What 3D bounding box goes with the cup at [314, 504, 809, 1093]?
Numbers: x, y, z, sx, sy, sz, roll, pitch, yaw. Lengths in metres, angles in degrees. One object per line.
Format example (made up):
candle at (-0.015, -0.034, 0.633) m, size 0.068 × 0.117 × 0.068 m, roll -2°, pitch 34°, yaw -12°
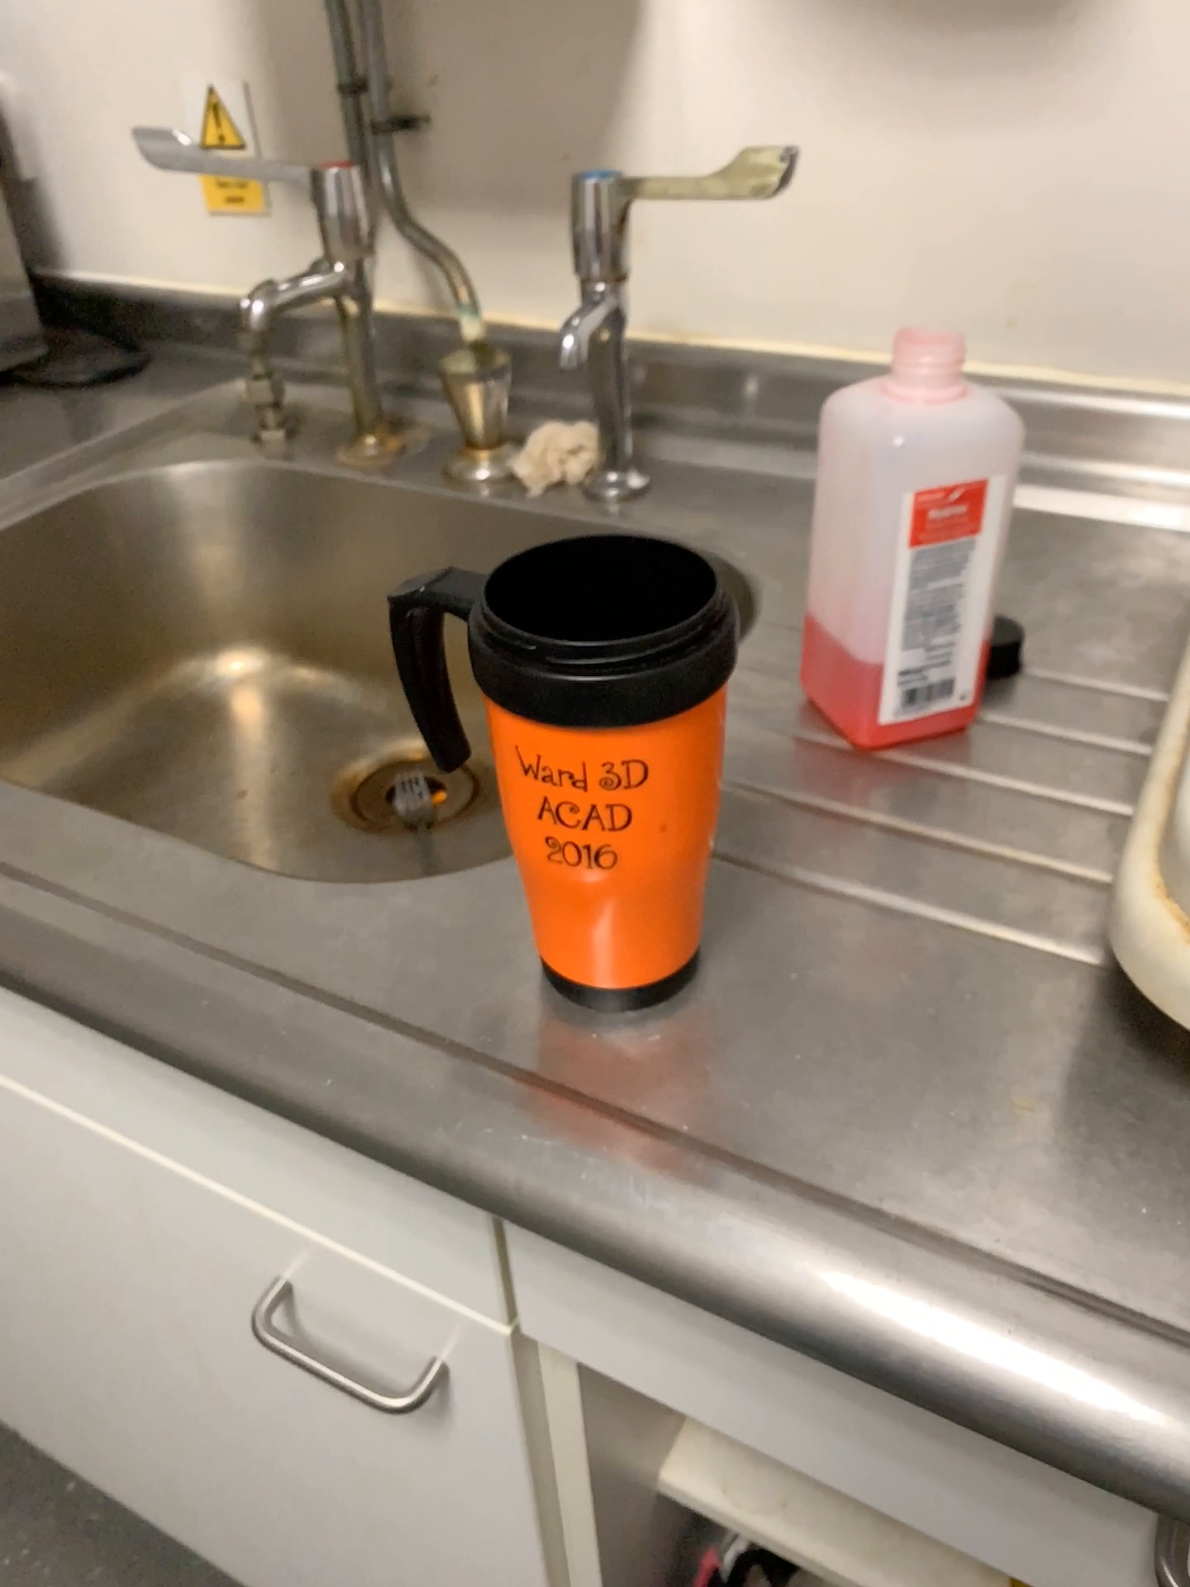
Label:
cup at (-0.006, -0.001, 0.446) m, size 0.134 × 0.164 × 0.090 m, roll 14°, pitch 39°, yaw 23°
